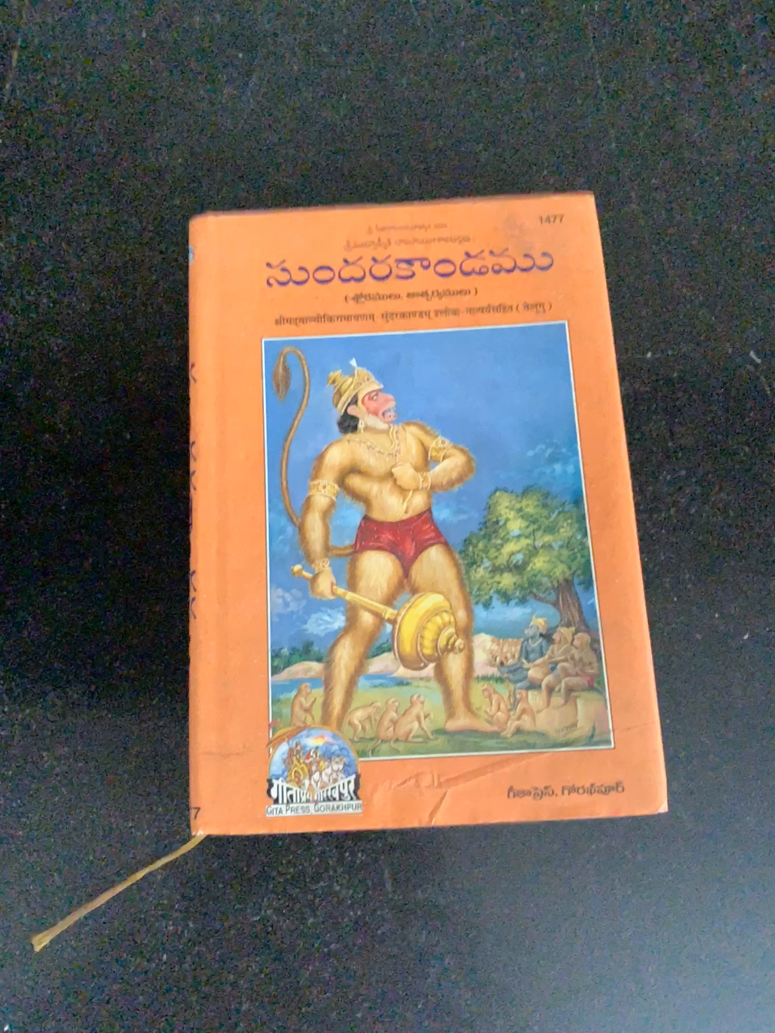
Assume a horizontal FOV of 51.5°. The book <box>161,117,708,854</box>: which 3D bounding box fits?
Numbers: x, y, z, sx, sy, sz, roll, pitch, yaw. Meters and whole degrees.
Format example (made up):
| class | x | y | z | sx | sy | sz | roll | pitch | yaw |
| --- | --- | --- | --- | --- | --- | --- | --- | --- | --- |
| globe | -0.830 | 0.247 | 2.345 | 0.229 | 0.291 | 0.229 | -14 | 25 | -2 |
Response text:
| class | x | y | z | sx | sy | sz | roll | pitch | yaw |
| --- | --- | --- | --- | --- | --- | --- | --- | --- | --- |
| book | 0.010 | -0.024 | 0.346 | 0.200 | 0.040 | 0.300 | -3 | 77 | 0 |
